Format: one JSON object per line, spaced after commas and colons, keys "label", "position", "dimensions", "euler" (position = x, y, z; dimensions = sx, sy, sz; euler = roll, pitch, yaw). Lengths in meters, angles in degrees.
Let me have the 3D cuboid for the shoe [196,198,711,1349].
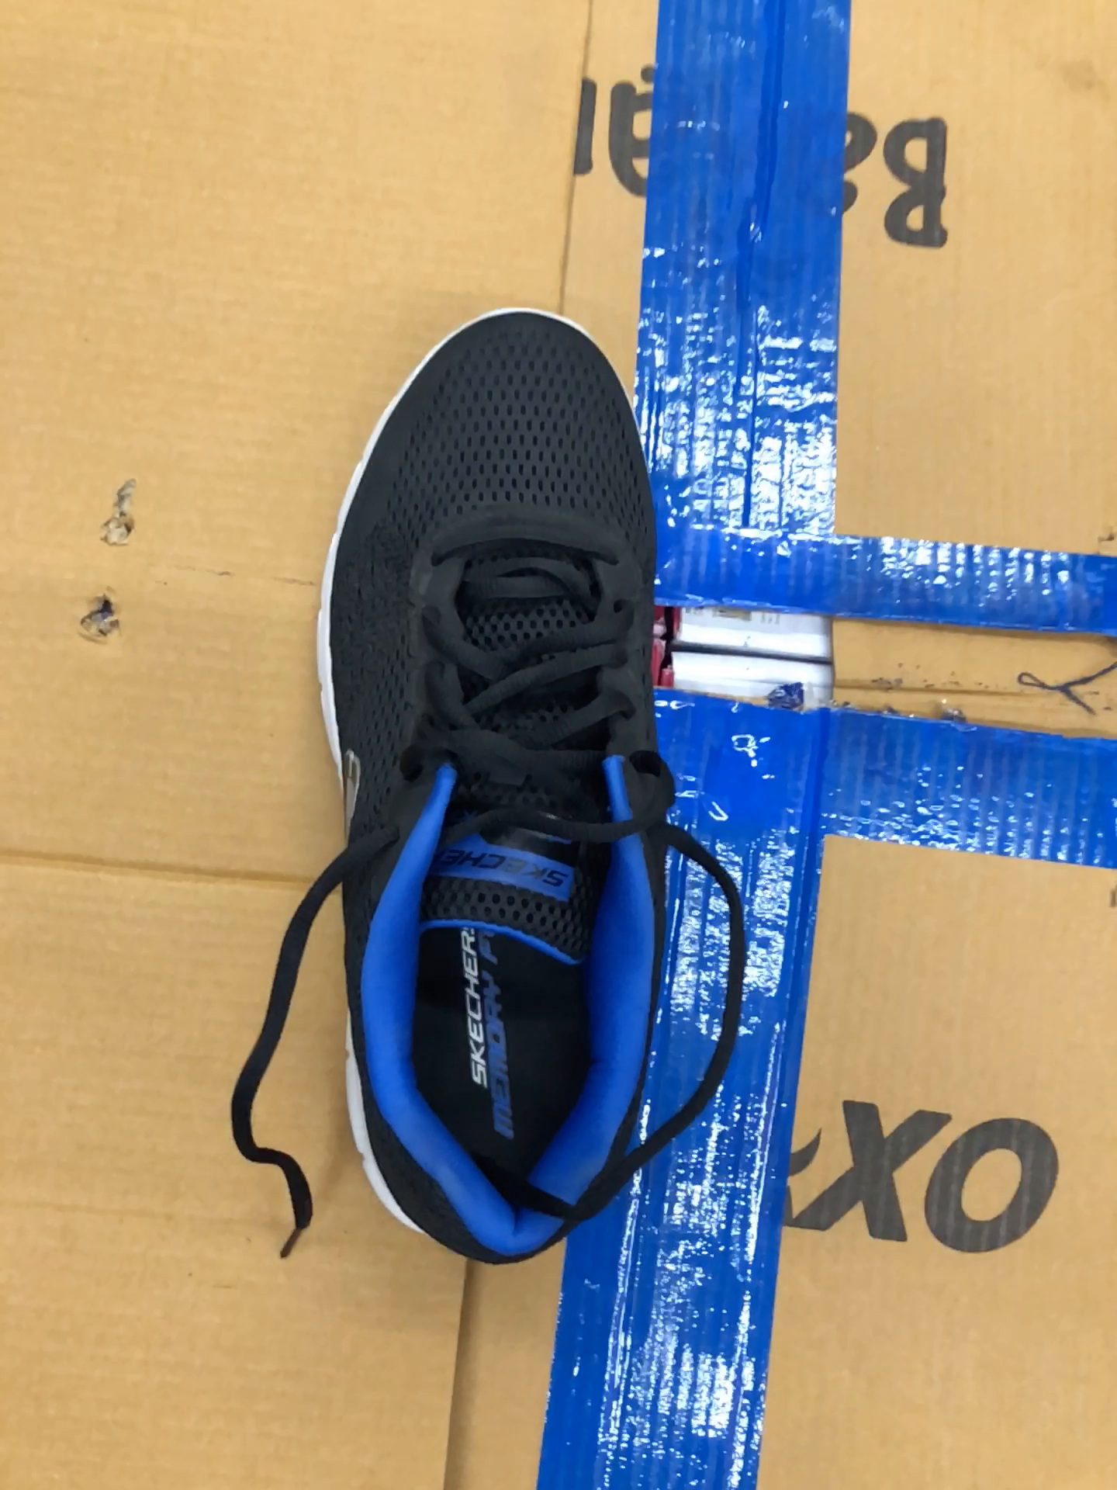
{"label": "shoe", "position": [-0.025, 0.007, 0.352], "dimensions": [0.114, 0.106, 0.278], "euler": [2, 83, -3]}
